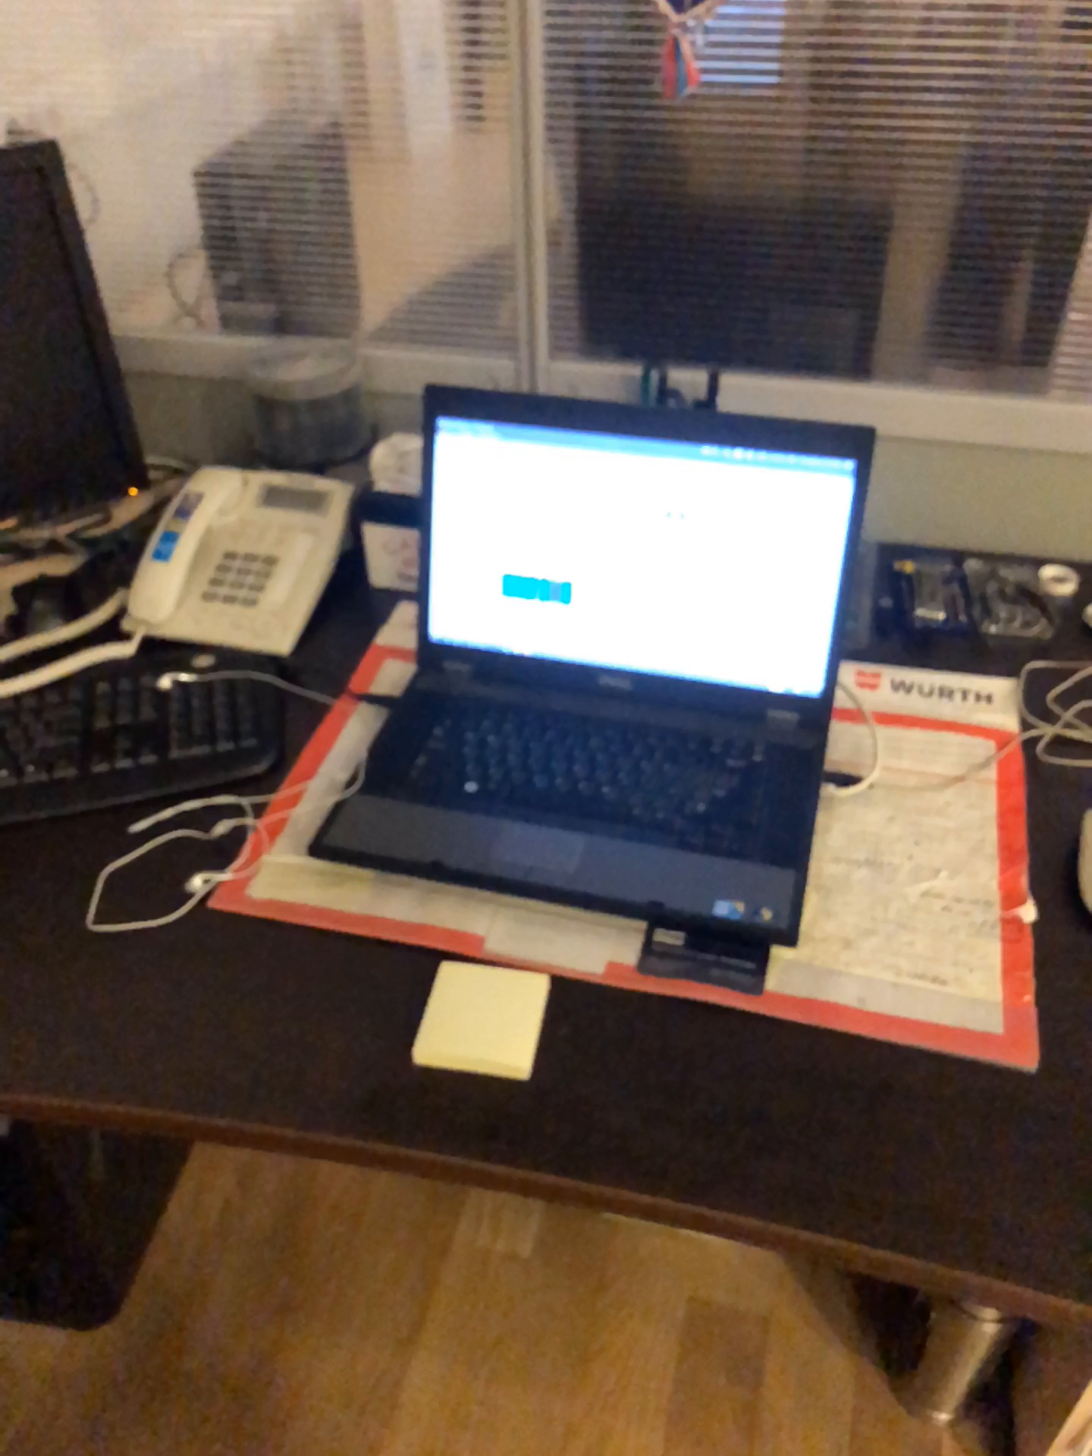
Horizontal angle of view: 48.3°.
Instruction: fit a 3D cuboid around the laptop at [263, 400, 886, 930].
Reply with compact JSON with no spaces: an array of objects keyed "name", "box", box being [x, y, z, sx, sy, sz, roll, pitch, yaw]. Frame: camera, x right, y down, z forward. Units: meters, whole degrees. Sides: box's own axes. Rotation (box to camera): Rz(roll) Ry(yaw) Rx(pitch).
[{"name":"laptop","box":[0.036,-0.056,0.802,0.317,0.209,0.257,8,39,13]}]
